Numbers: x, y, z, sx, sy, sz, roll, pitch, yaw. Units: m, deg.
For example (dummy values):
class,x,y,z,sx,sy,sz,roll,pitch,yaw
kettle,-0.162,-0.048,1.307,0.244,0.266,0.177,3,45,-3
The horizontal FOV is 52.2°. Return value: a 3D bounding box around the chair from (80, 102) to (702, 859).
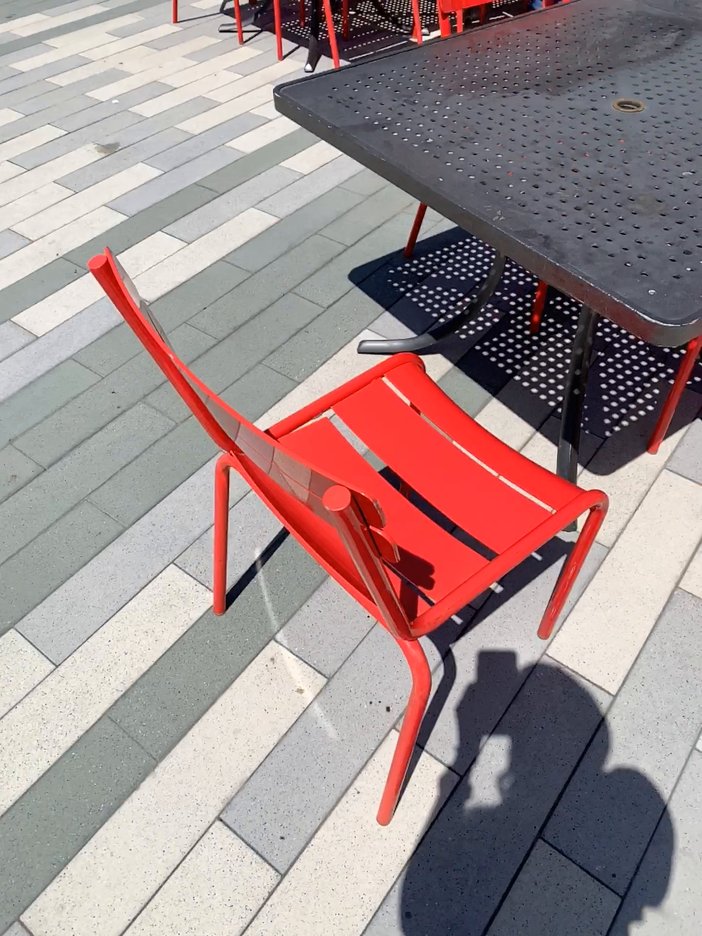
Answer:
class,x,y,z,sx,sy,sz,roll,pitch,yaw
chair,0.102,0.042,1.112,0.581,0.846,0.582,-32,55,-25
